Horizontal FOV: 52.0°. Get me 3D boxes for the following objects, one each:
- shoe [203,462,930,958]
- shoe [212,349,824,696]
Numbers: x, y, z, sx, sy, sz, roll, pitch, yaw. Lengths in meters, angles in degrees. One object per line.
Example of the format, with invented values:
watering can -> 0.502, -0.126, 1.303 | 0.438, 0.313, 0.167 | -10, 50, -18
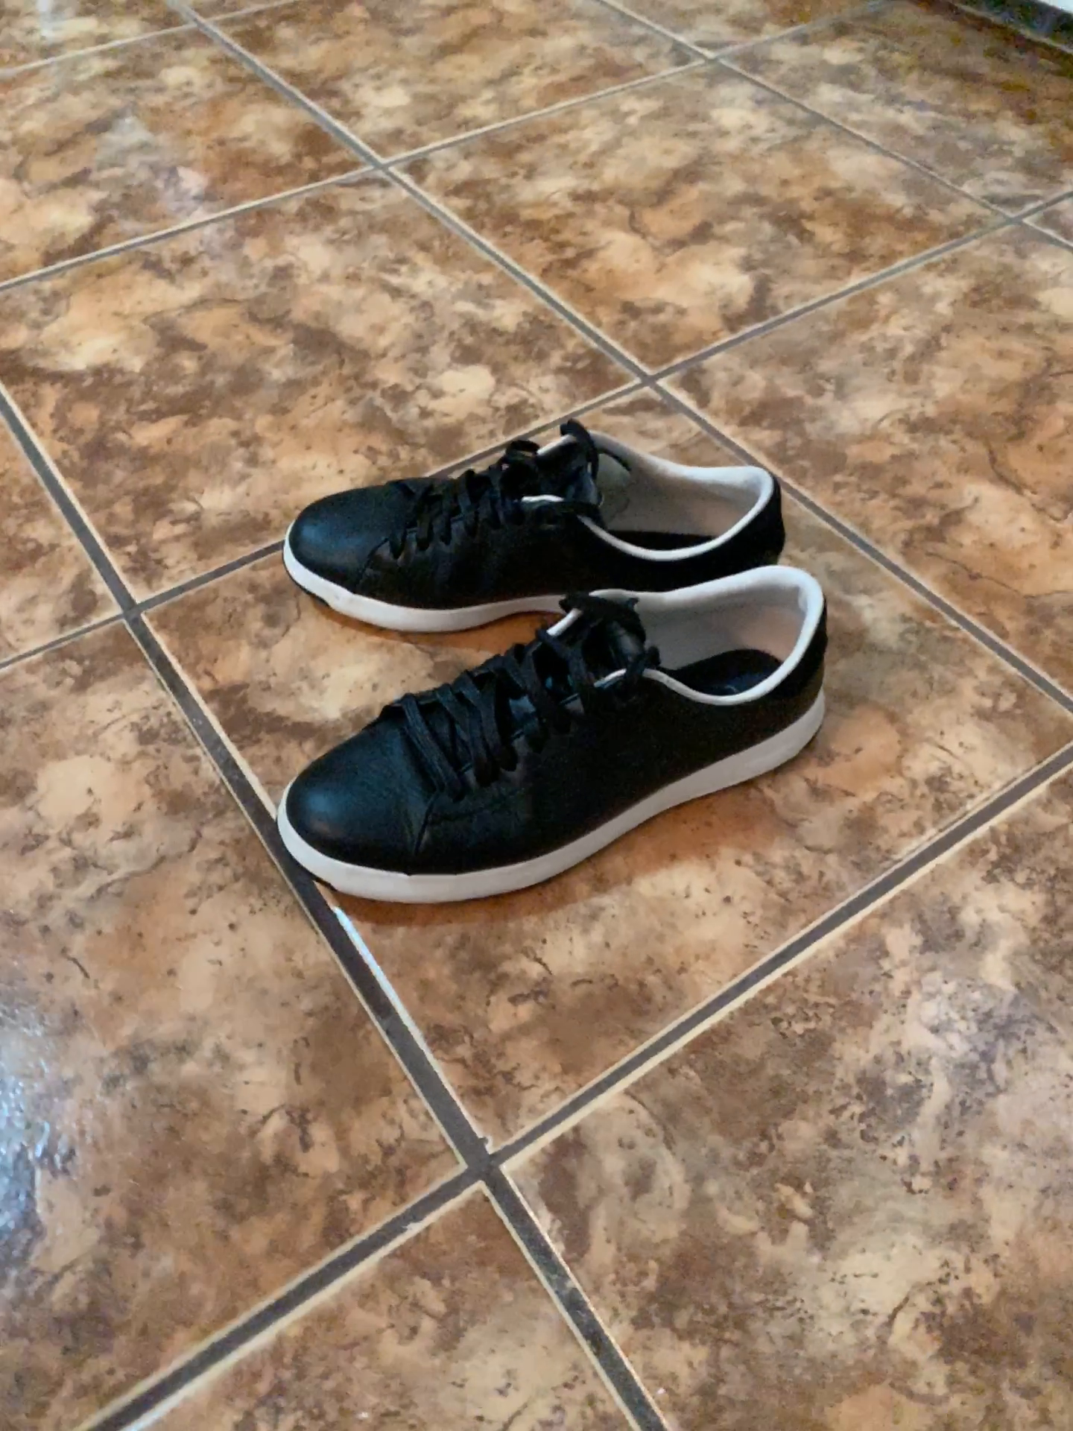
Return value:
shoe -> 0.012, -0.006, 0.447 | 0.255, 0.103, 0.090 | -17, 53, -14
shoe -> -0.005, -0.091, 0.516 | 0.255, 0.093, 0.087 | 9, 51, 6
